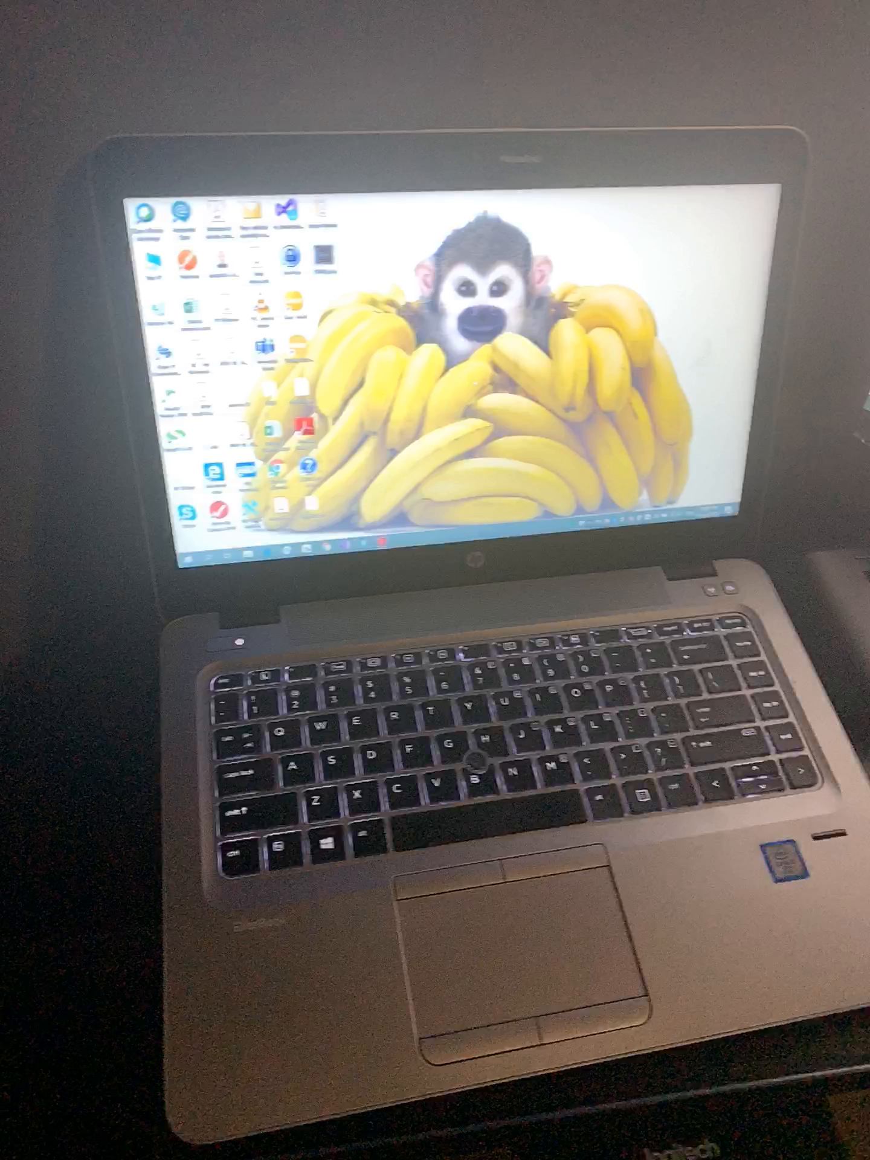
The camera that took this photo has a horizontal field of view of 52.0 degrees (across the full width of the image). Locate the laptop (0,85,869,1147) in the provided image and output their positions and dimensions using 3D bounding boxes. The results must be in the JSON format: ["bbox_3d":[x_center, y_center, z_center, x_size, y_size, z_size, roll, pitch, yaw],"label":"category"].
[{"bbox_3d":[0.021,-0.015,0.363,0.318,0.191,0.327,-6,53,-10],"label":"laptop"}]
